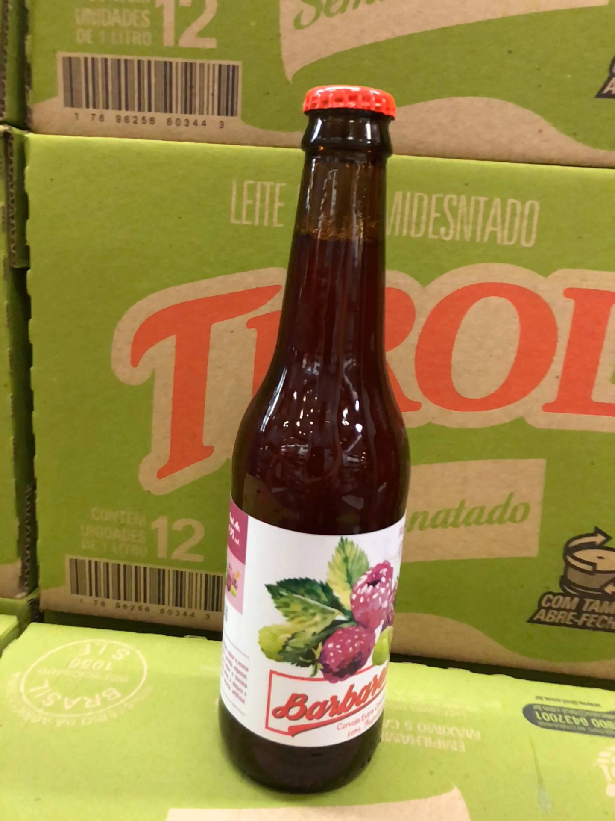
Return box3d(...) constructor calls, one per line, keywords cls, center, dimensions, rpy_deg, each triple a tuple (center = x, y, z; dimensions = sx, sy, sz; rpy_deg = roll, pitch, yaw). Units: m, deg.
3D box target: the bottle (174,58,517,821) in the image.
box3d(cls="bottle", center=(0.006, 0.019, 0.228), dimensions=(0.070, 0.229, 0.060), rpy_deg=(-7, 18, -40))
